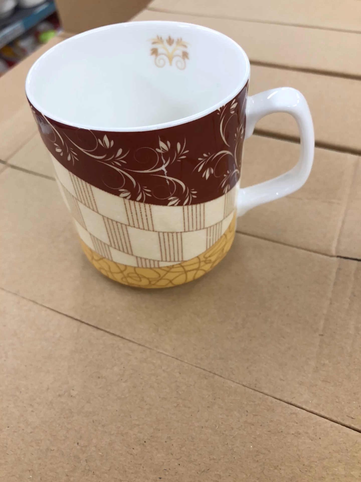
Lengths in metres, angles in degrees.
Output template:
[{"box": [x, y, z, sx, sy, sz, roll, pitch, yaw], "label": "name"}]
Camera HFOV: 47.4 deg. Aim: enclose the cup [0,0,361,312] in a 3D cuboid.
[{"box": [-0.002, -0.031, 0.144, 0.100, 0.080, 0.070, -6, 49, 1], "label": "cup"}]
